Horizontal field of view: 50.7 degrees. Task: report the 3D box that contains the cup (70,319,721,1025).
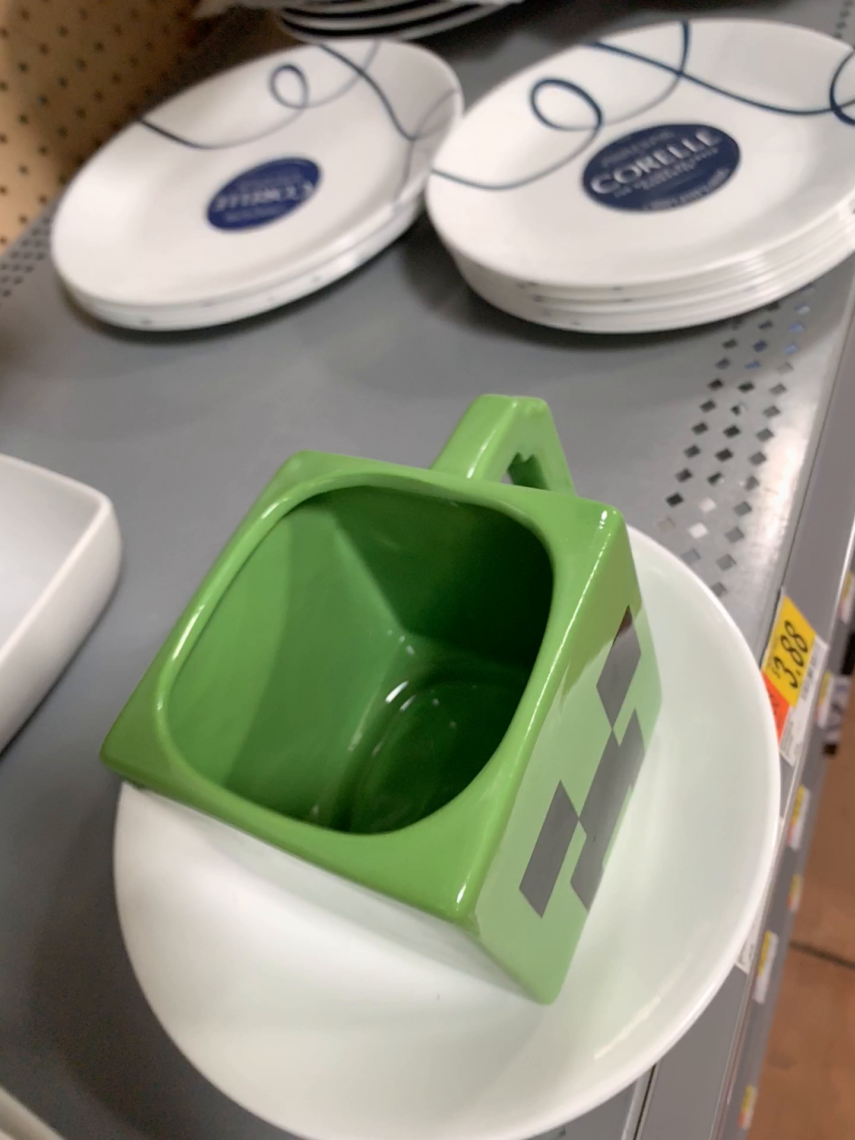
[{"bbox_3d":[0.008,0.023,0.253,0.106,0.104,0.142,14,61,27],"label":"cup"}]
